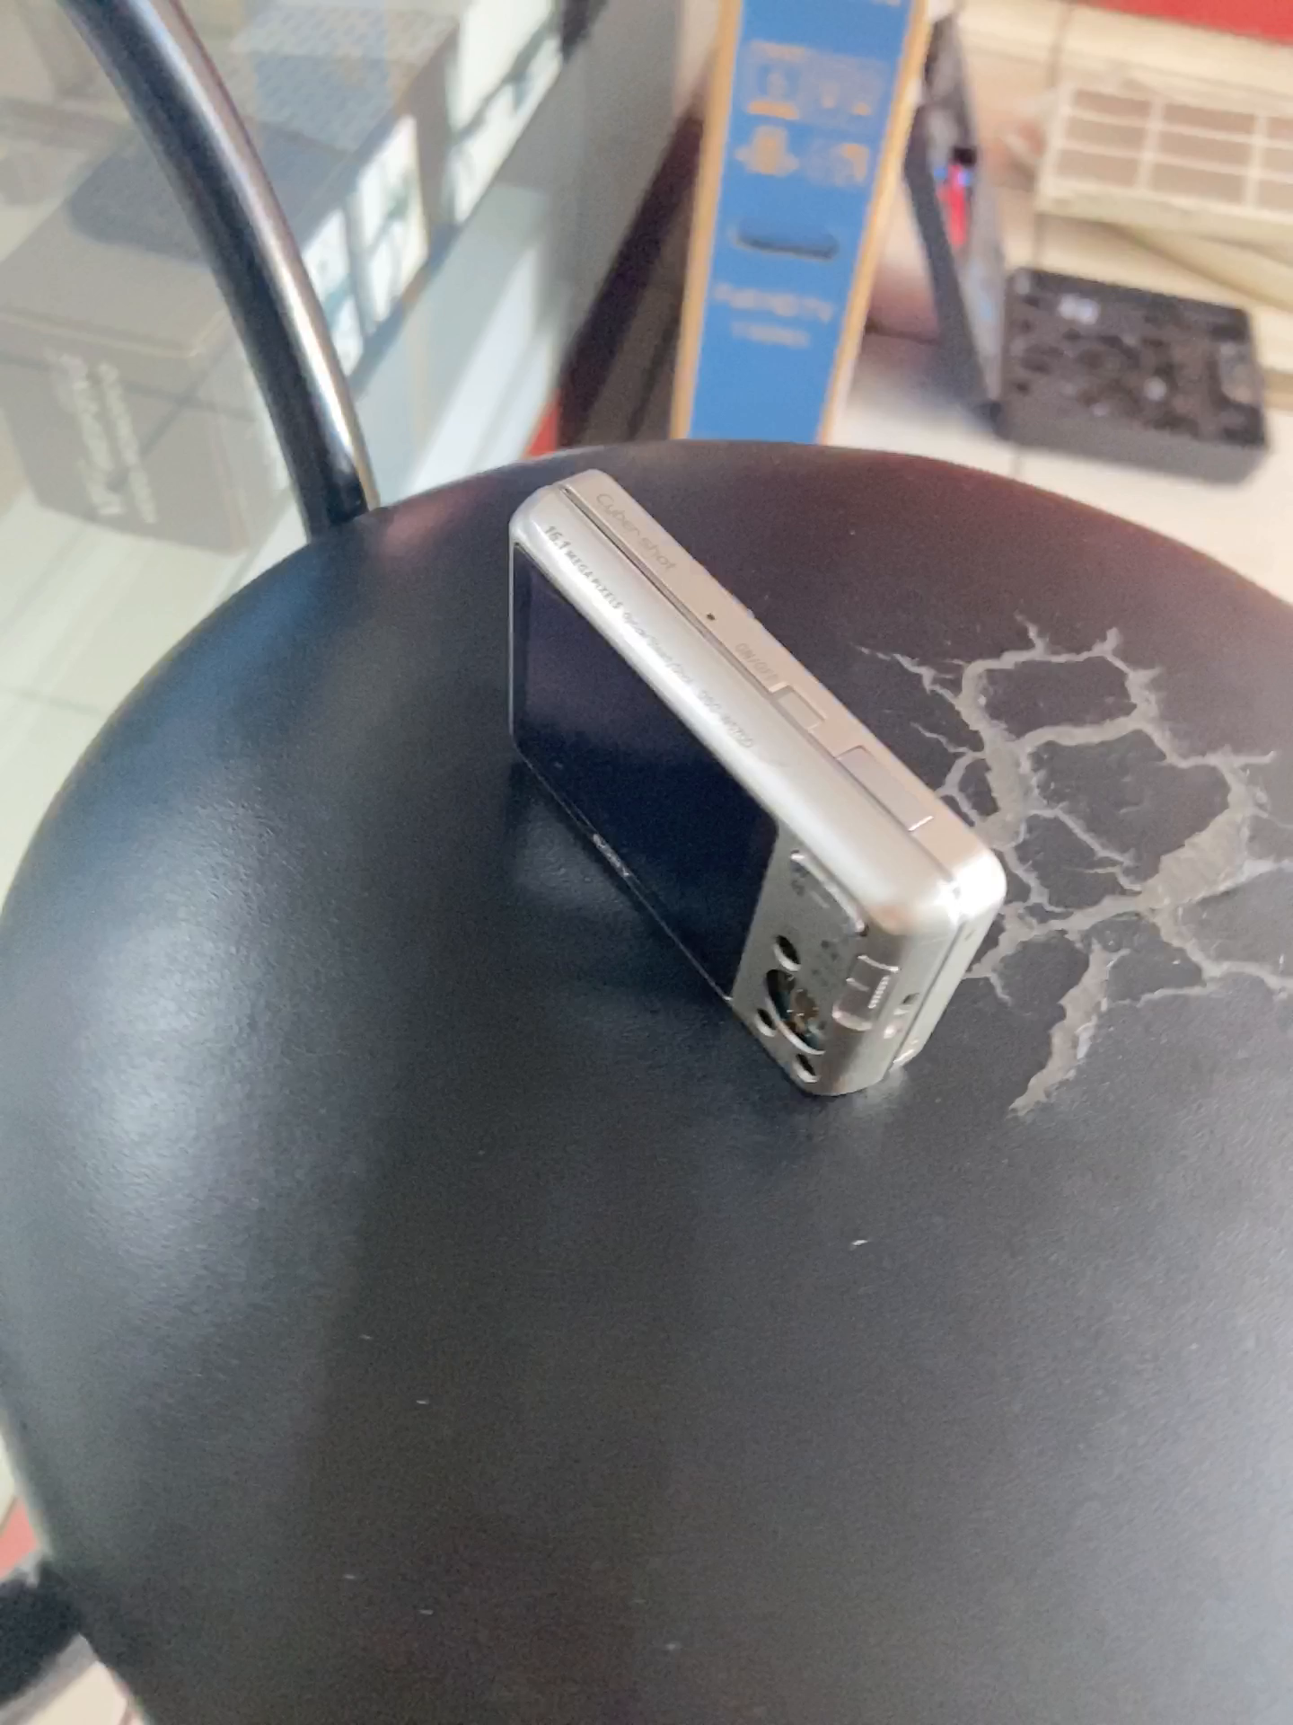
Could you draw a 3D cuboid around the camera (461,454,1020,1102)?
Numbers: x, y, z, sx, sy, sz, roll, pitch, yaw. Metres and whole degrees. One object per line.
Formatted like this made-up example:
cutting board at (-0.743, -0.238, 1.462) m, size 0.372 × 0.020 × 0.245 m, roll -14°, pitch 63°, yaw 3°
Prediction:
camera at (0.008, -0.014, 0.199) m, size 0.022 × 0.042 × 0.092 m, roll -29°, pitch 61°, yaw -25°
